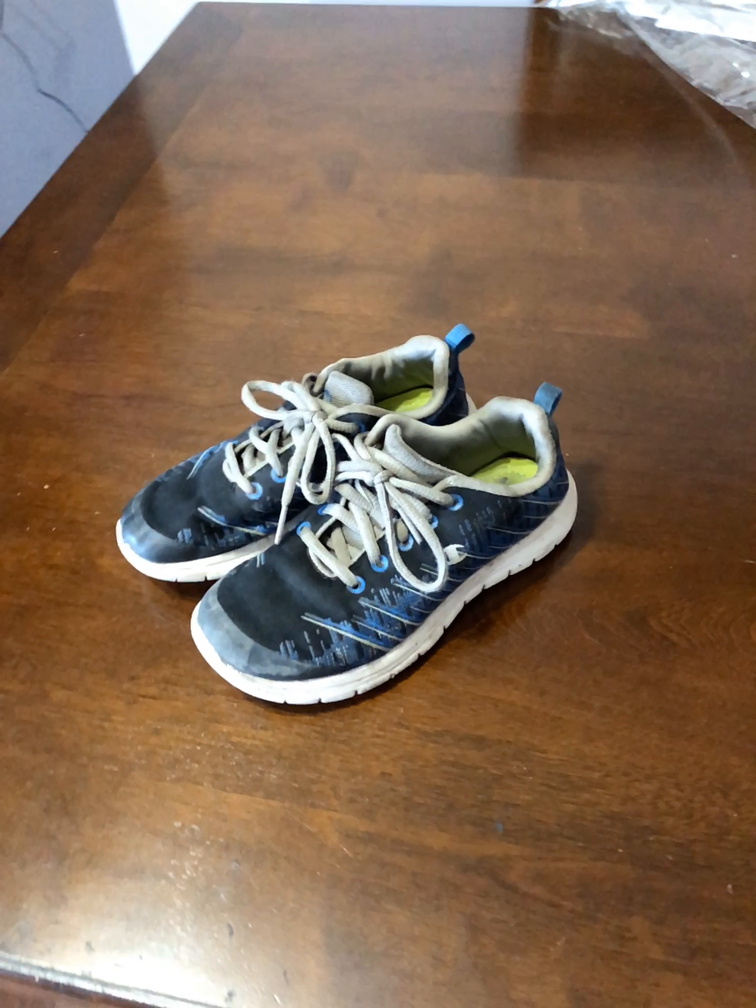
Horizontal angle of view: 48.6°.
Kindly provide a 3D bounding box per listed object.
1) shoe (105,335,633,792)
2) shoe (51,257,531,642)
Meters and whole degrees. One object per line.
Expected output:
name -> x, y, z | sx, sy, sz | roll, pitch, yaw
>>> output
shoe -> 0.002, 0.021, 0.423 | 0.230, 0.090, 0.100 | -30, 54, -20
shoe -> -0.041, -0.035, 0.454 | 0.220, 0.090, 0.100 | -25, 53, -16
